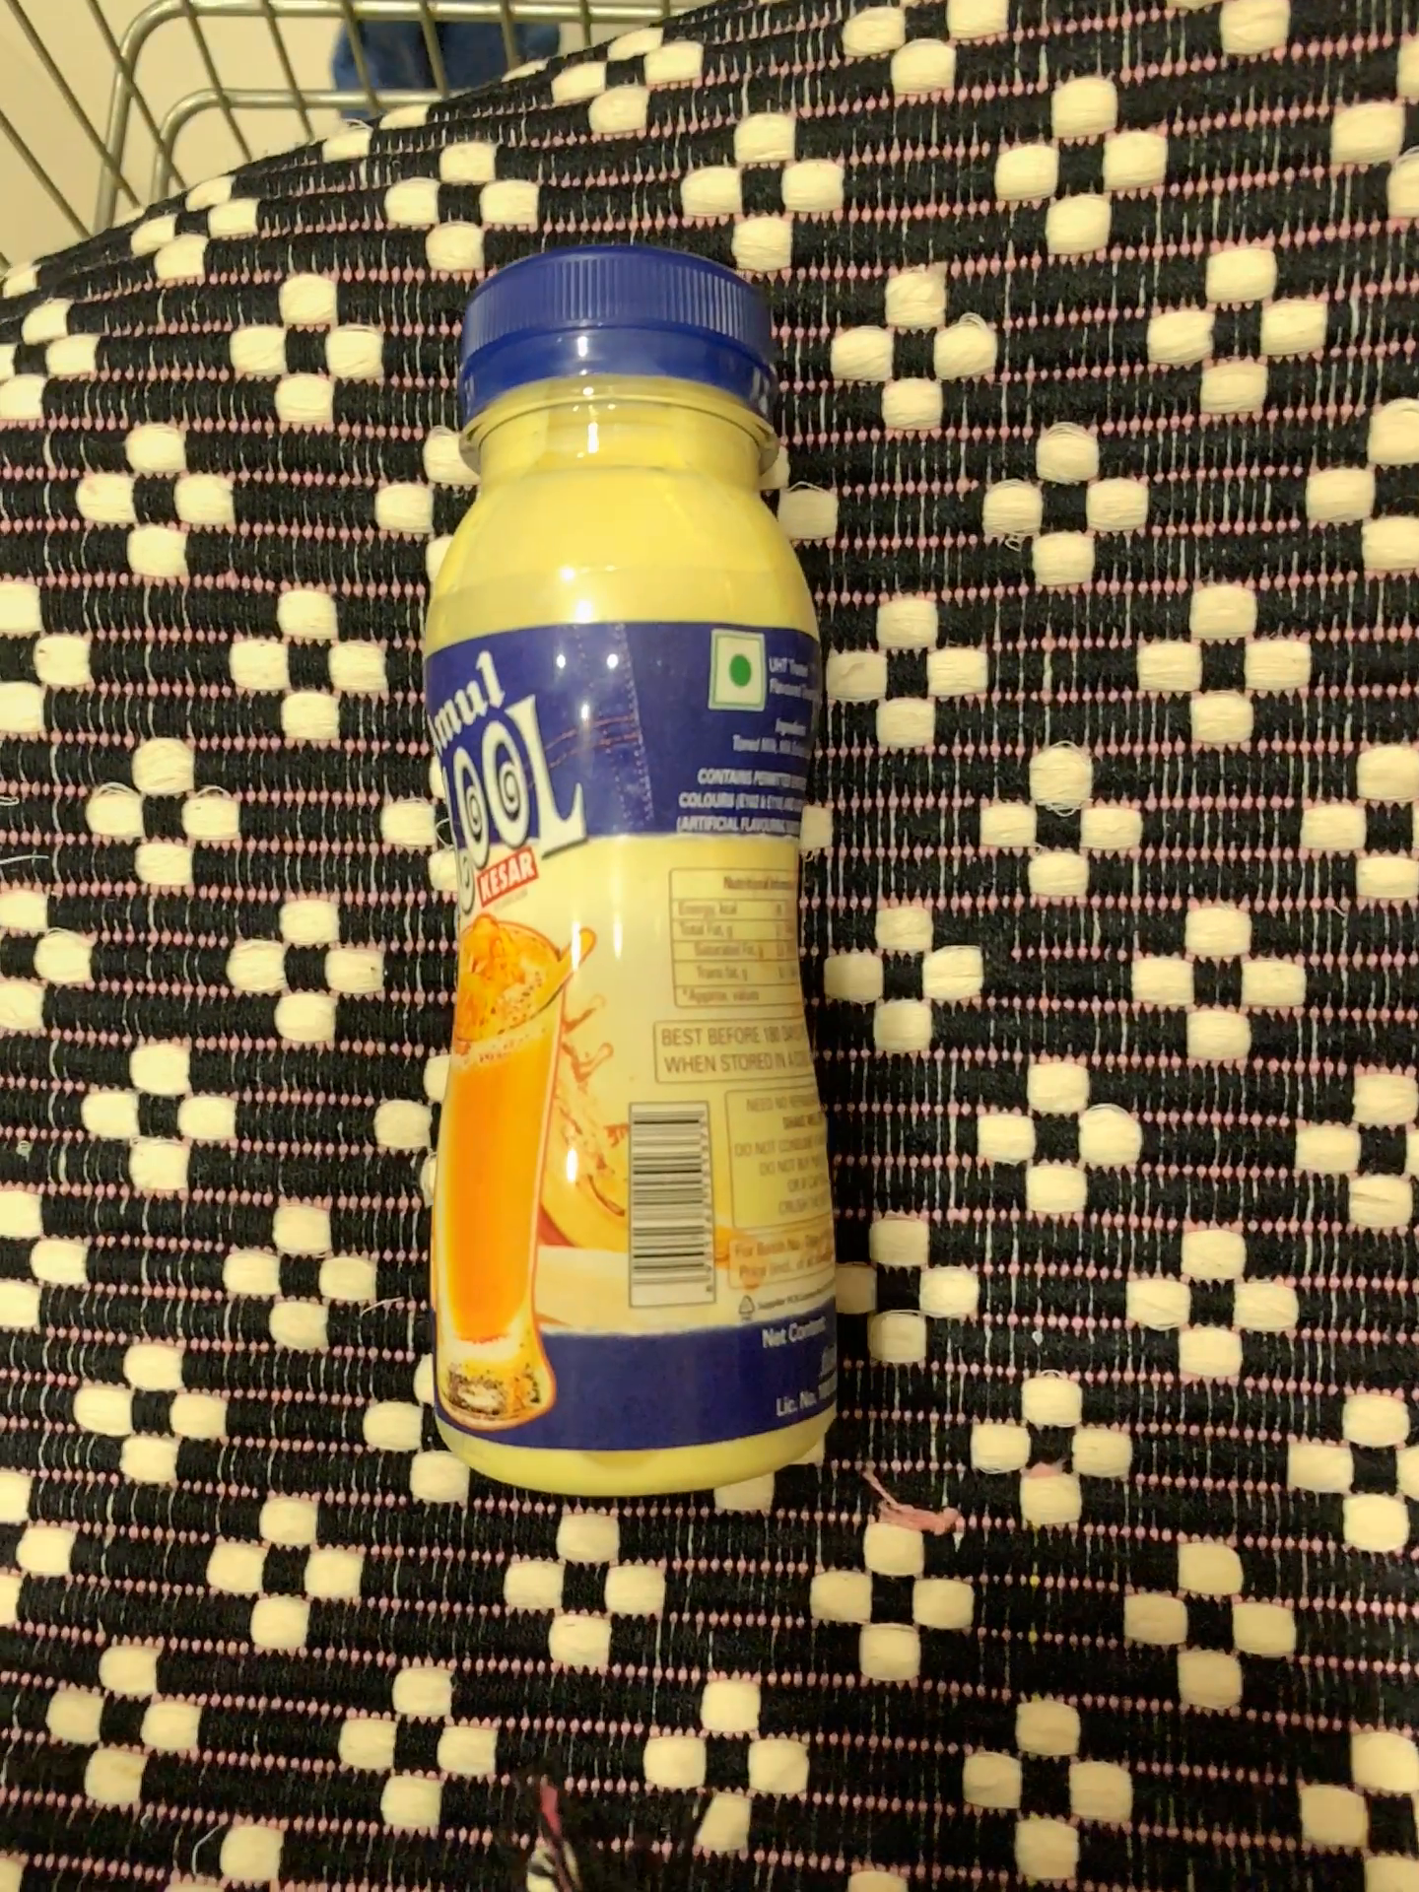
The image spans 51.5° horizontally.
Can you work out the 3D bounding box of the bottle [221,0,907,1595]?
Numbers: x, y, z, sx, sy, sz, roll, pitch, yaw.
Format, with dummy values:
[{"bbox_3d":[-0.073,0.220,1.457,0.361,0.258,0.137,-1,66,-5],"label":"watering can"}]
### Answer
[{"bbox_3d":[-0.018,-0.018,0.182,0.060,0.060,0.160,3,86,-36],"label":"bottle"}]
